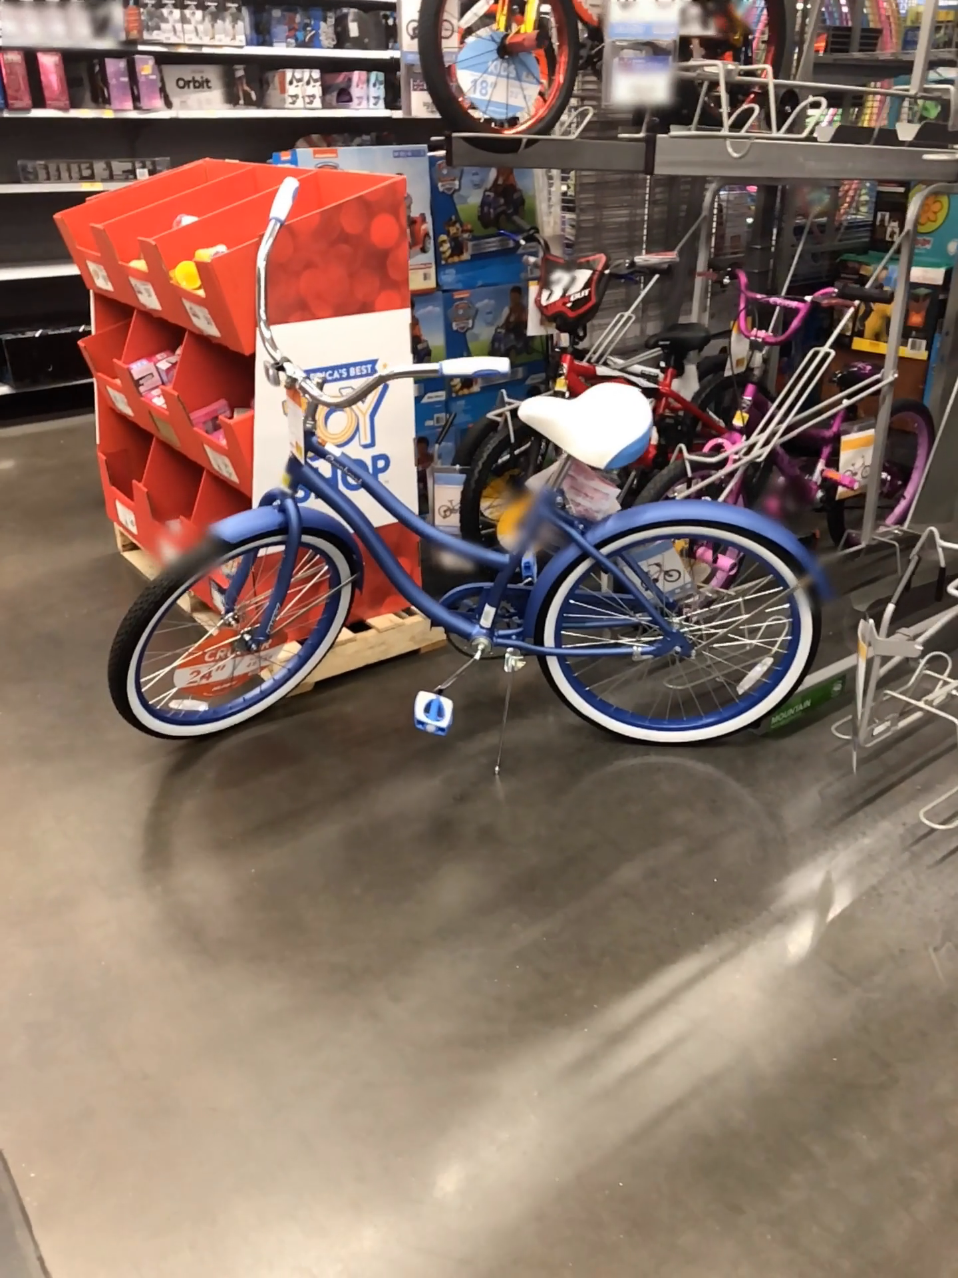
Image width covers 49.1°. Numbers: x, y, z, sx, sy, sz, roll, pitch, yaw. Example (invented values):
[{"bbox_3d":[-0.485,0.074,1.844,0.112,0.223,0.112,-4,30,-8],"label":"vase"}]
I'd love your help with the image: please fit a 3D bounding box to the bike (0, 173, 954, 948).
[{"bbox_3d":[-0.046,-0.209,1.984,1.353,1.114,0.861,-3,26,-1],"label":"bike"}]
